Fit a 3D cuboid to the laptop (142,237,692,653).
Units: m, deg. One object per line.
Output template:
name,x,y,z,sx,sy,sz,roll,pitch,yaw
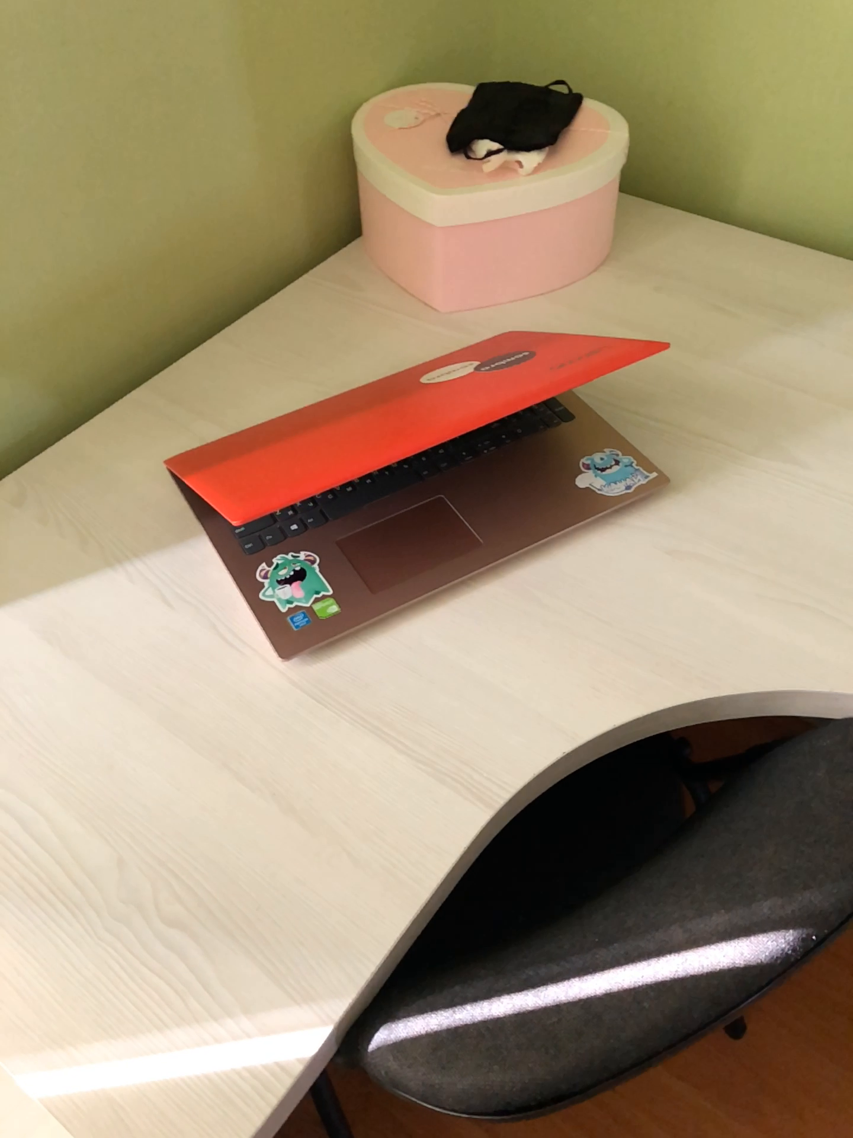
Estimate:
laptop,-0.009,-0.122,0.785,0.367,0.112,0.233,-24,53,-18
